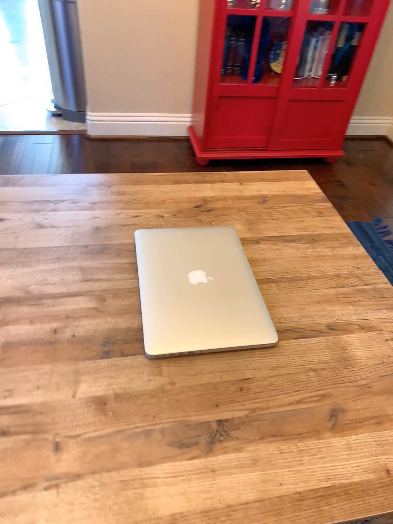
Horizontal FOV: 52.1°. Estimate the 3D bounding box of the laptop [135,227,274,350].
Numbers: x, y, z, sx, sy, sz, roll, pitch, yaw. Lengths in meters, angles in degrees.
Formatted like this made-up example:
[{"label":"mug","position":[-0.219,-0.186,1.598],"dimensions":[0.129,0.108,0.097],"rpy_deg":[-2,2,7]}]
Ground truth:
[{"label":"laptop","position":[-0.001,0.030,0.744],"dimensions":[0.208,0.002,0.299],"rpy_deg":[-3,43,-11]}]
